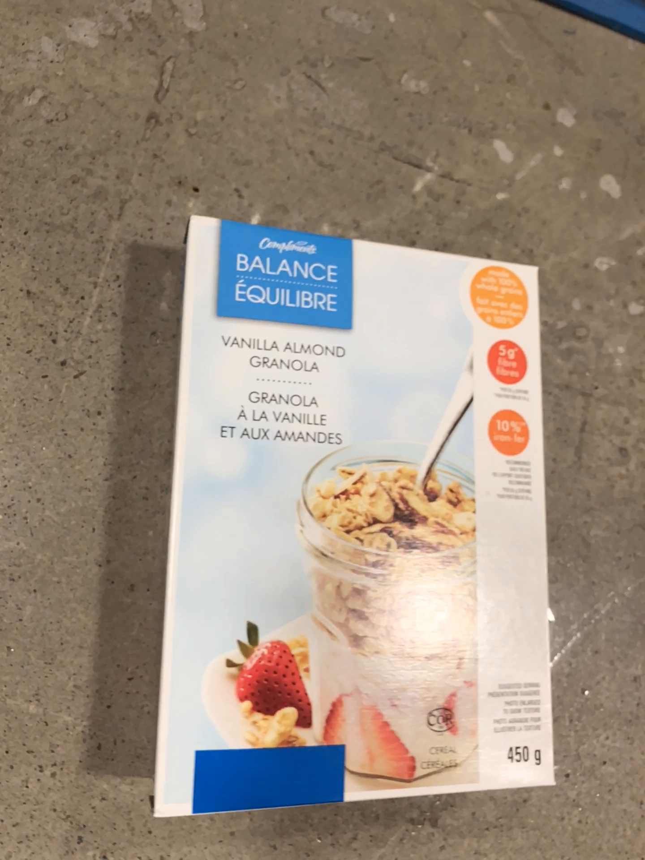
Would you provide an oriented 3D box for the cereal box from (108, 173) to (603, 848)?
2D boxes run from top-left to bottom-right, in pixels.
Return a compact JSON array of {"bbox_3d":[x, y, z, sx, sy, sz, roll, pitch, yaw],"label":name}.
[{"bbox_3d":[0.017,0.030,0.308,0.190,0.050,0.240,4,80,-15],"label":"cereal box"}]
